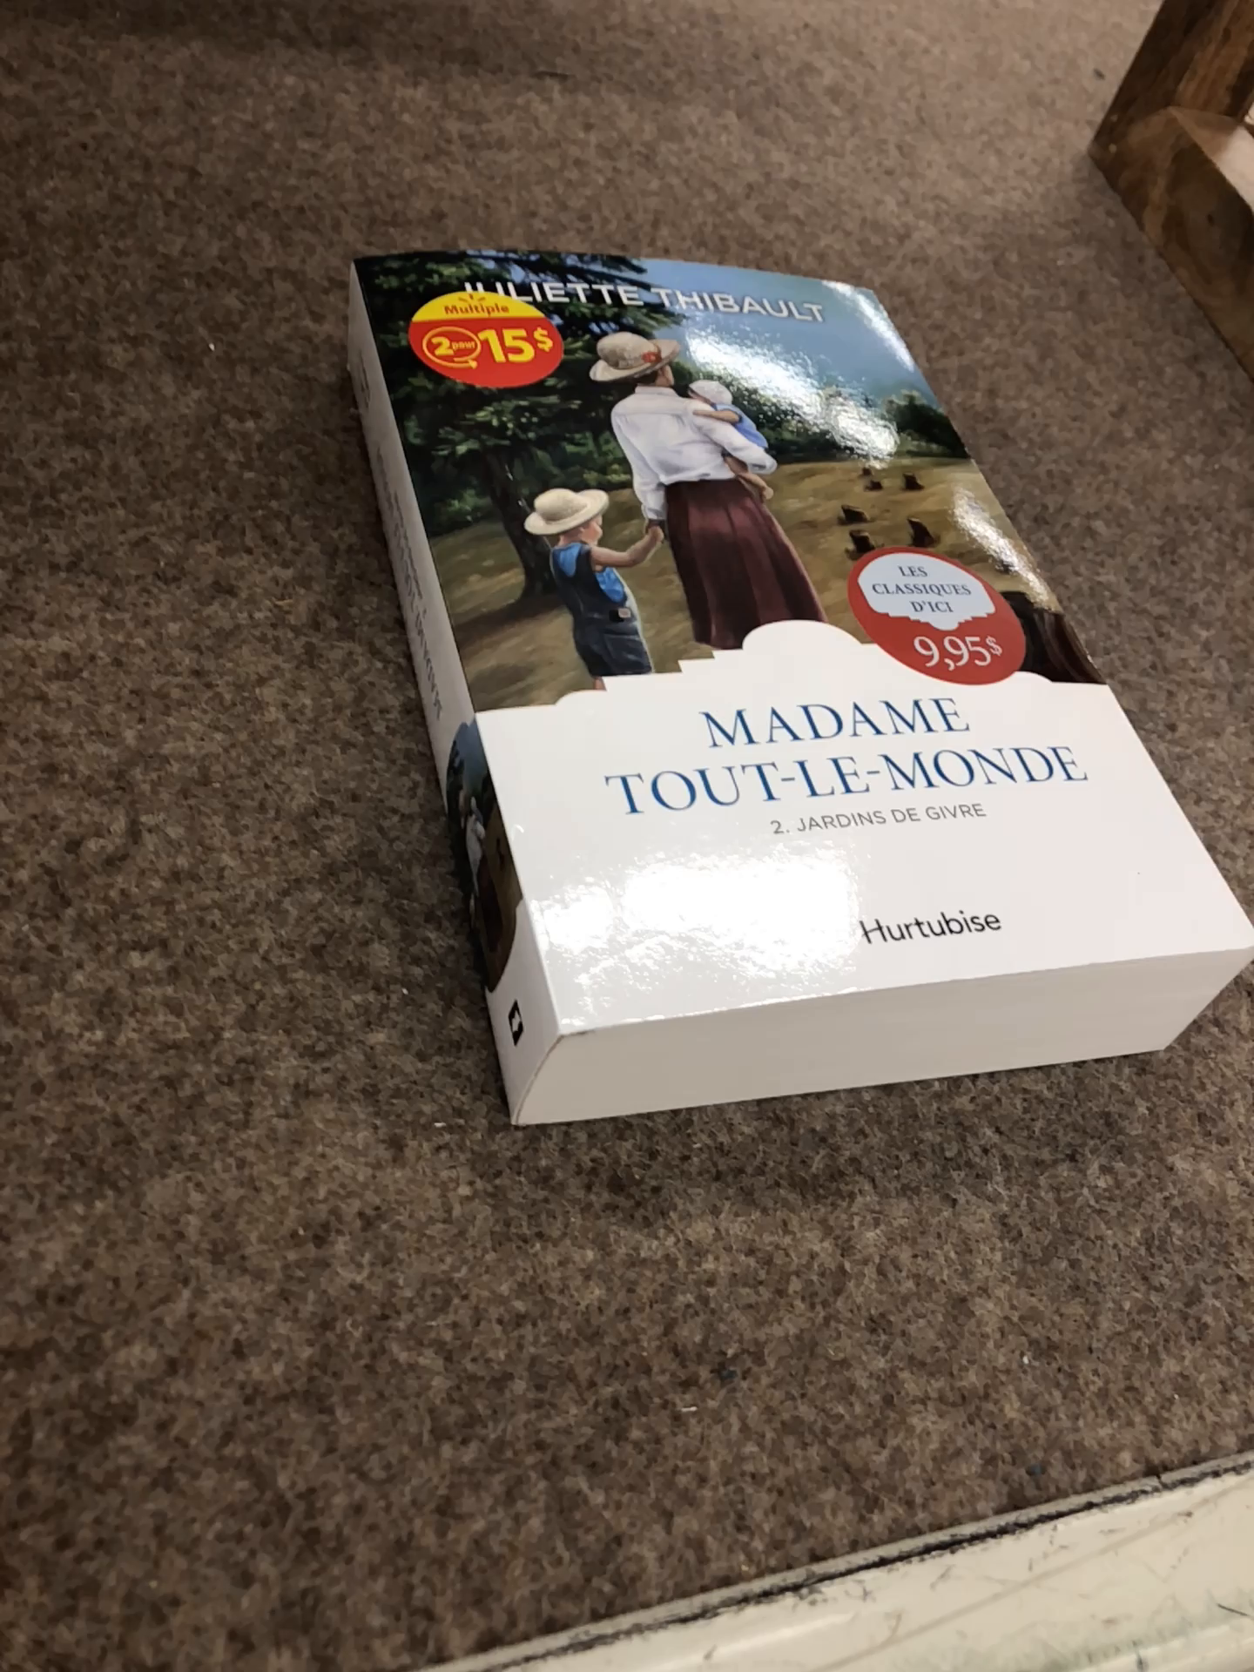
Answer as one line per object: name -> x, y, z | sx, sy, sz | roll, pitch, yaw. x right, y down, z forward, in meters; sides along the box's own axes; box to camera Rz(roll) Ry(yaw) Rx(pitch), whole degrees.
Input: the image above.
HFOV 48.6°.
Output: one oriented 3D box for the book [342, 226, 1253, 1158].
book -> 0.030, -0.050, 0.328 | 0.160, 0.050, 0.222 | -4, 57, -19
